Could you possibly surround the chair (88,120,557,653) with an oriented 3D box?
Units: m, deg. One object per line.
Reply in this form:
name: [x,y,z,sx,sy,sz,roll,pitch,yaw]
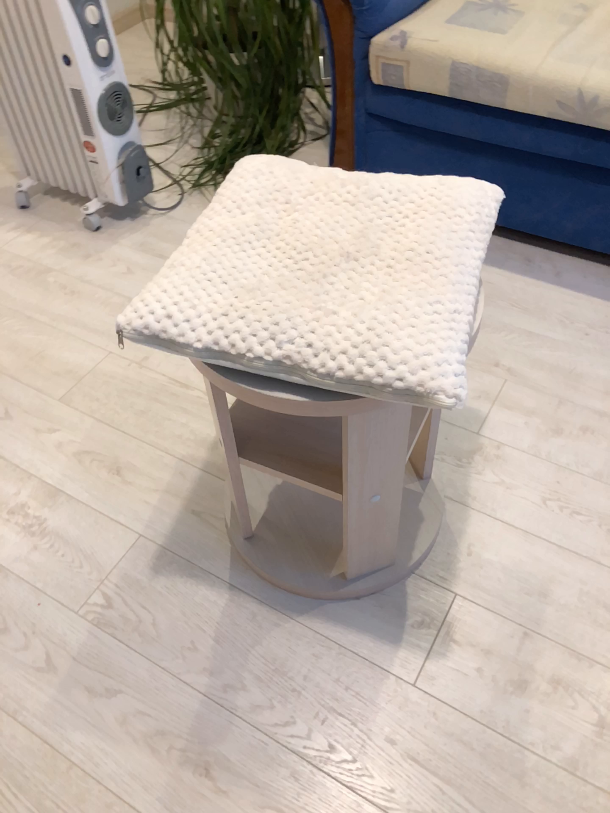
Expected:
chair: [0.045,-0.022,0.961,0.381,0.546,0.402,24,54,23]
